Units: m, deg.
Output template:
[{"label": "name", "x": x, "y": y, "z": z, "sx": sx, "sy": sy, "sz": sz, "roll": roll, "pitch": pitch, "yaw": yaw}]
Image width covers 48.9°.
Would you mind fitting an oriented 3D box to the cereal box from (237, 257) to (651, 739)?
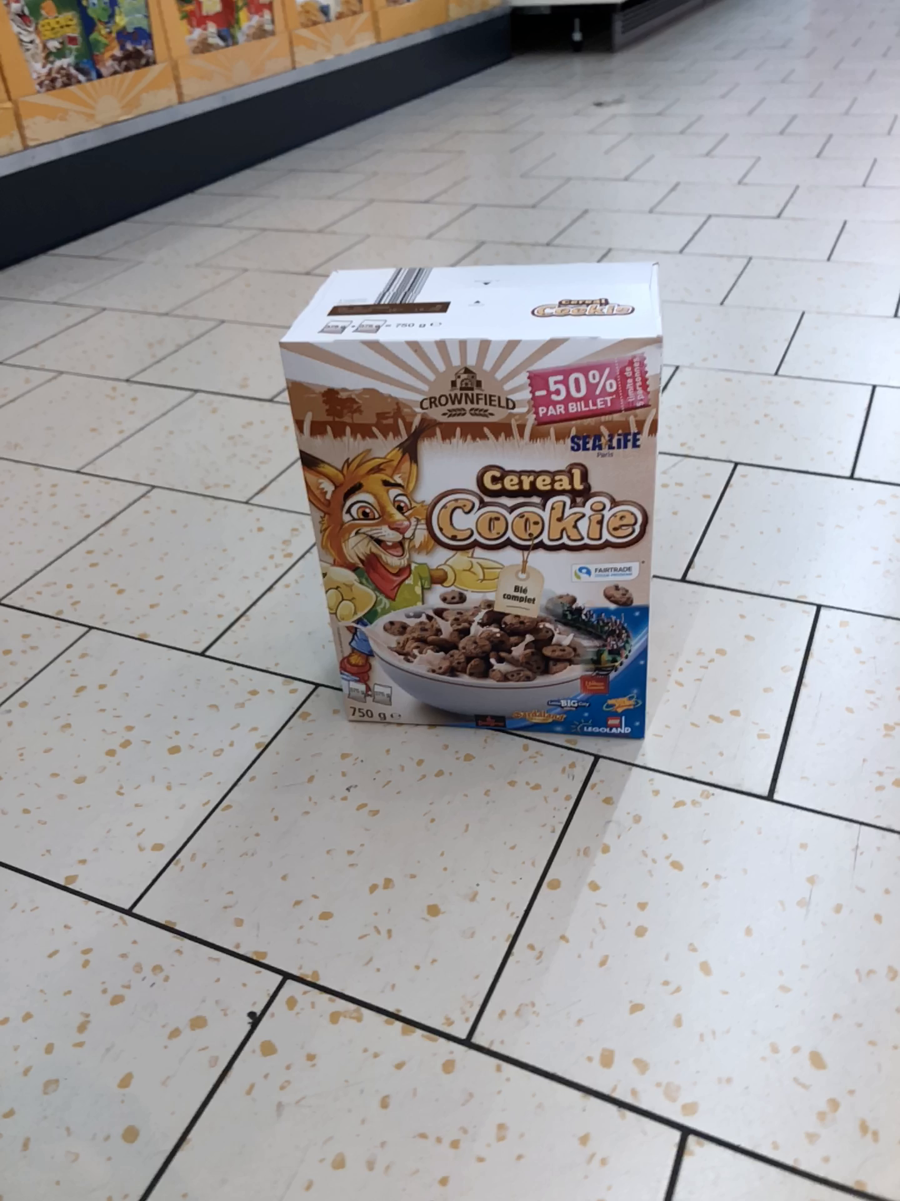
[{"label": "cereal box", "x": 0.013, "y": -0.058, "z": 0.589, "sx": 0.200, "sy": 0.249, "sz": 0.121, "roll": 2, "pitch": 35, "yaw": 10}]
